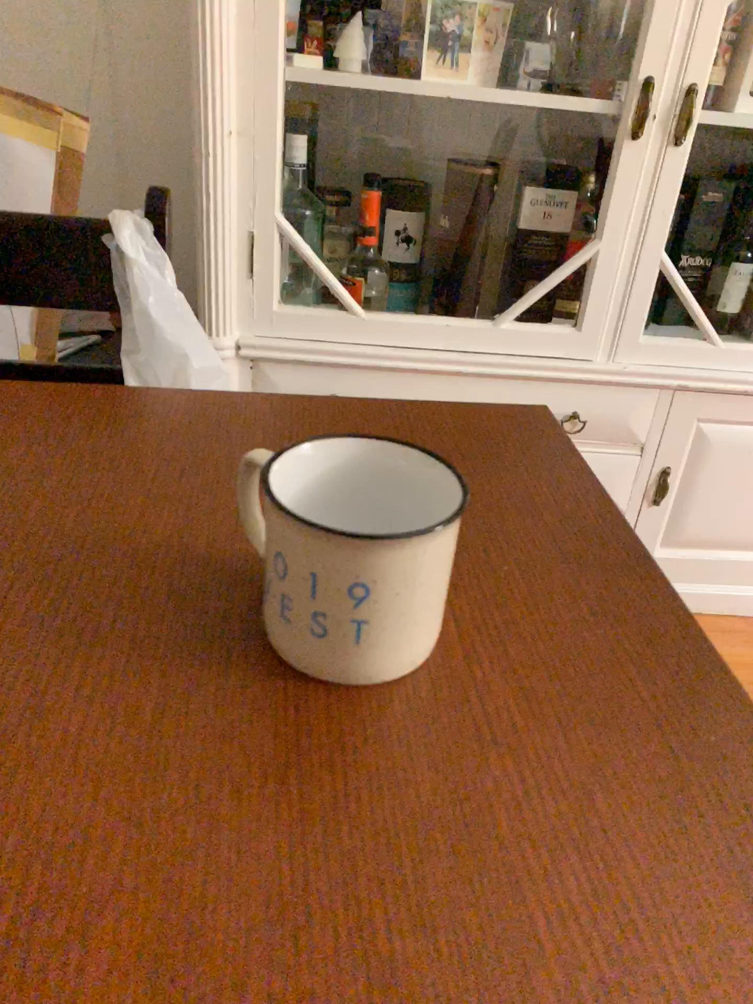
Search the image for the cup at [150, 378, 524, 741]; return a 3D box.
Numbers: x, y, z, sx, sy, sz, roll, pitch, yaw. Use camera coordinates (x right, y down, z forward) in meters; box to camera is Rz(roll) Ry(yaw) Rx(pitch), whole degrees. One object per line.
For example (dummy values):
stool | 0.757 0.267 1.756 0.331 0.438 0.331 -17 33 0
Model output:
cup | -0.024 0.018 0.390 0.151 0.099 0.100 26 36 31
